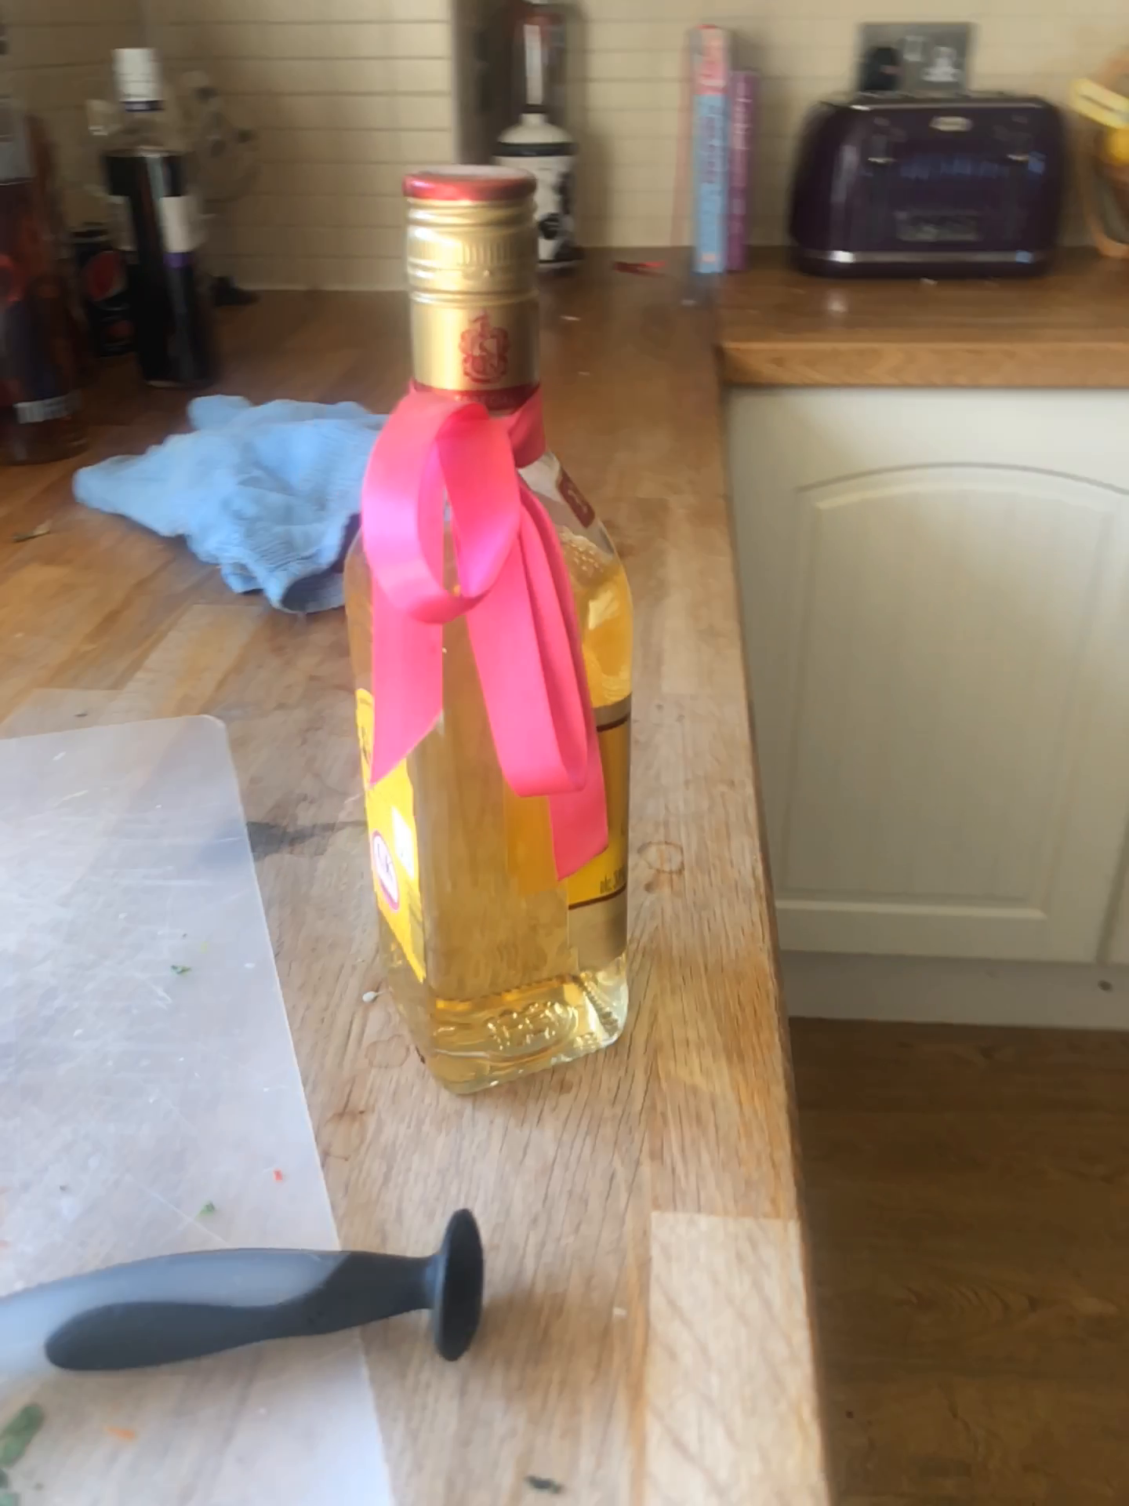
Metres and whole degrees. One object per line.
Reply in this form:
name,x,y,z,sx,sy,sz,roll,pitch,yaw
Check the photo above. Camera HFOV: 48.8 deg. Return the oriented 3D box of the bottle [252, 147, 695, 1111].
bottle,-0.021,-0.029,0.328,0.070,0.228,0.080,-15,32,-24
